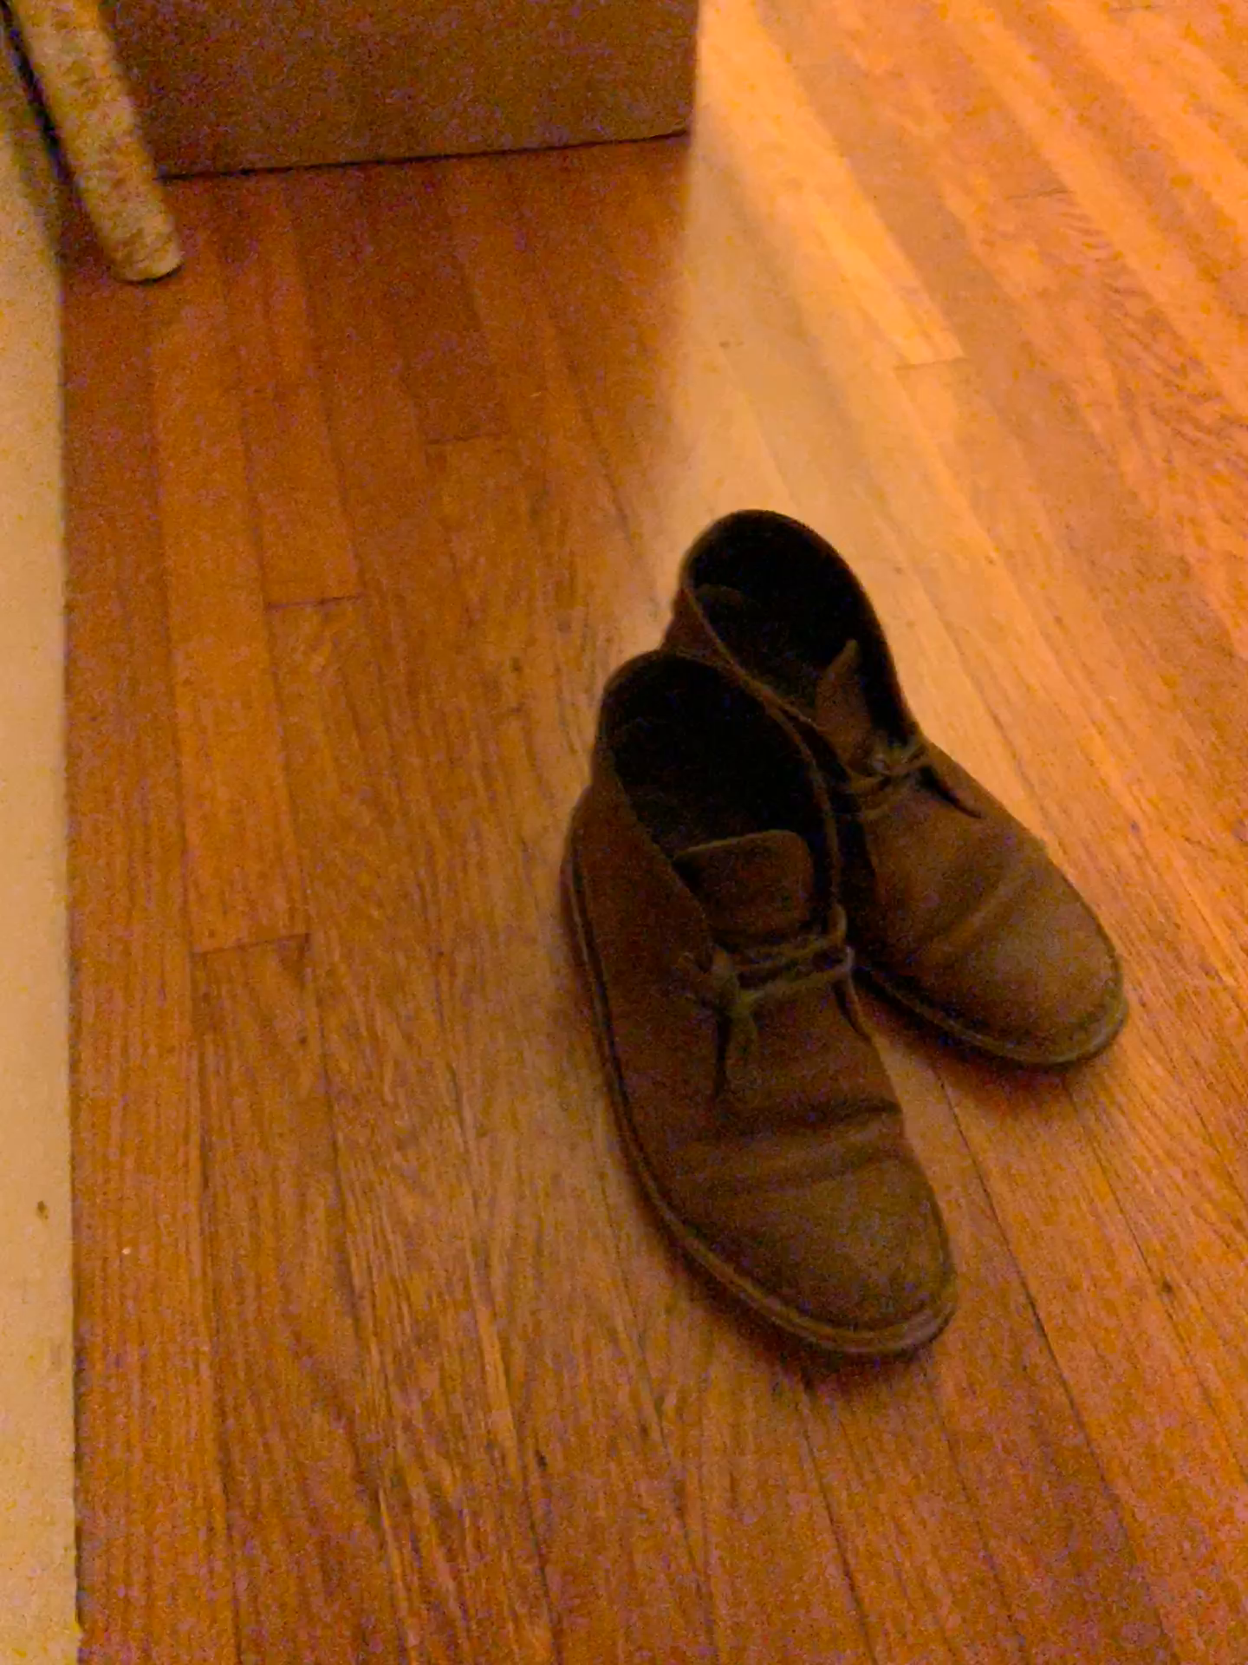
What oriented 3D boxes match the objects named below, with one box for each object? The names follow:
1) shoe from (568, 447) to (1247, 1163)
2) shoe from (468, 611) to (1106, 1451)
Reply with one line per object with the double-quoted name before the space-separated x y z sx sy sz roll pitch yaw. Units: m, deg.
"shoe" 0.120 -0.021 0.568 0.120 0.119 0.301 -37 65 -24
"shoe" 0.042 0.068 0.515 0.120 0.119 0.291 -17 59 -14
